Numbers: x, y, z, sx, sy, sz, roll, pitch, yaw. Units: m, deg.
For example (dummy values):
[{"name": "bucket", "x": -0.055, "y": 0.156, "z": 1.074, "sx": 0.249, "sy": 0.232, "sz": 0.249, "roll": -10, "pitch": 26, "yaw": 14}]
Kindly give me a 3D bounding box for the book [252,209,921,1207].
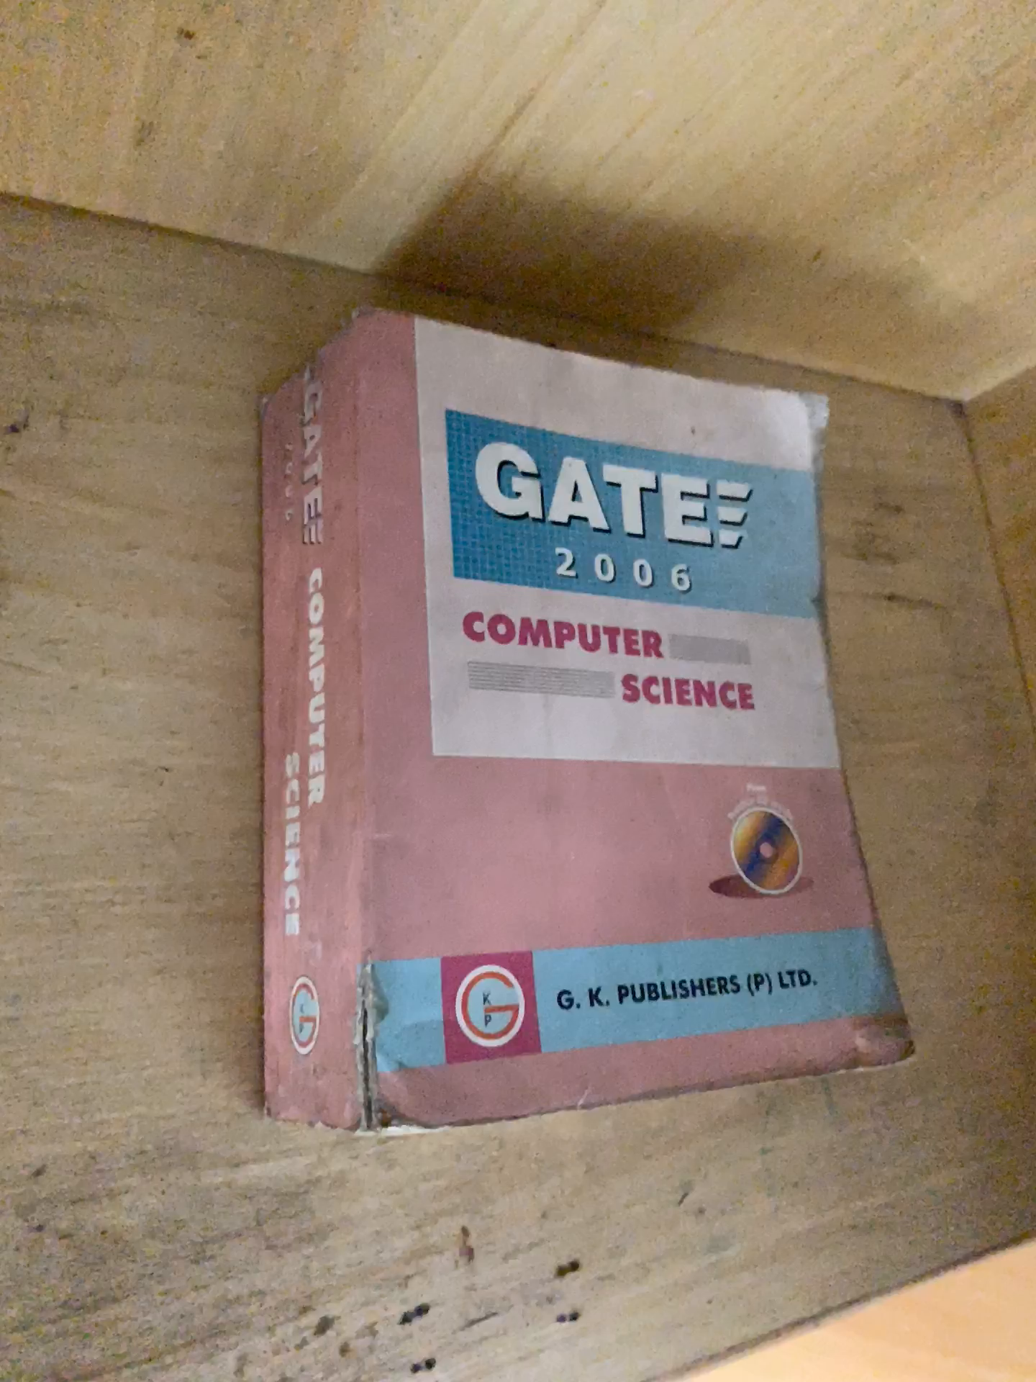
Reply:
[{"name": "book", "x": 0.017, "y": 0.005, "z": 0.362, "sx": 0.191, "sy": 0.080, "sz": 0.270, "roll": 5, "pitch": 73, "yaw": -29}]
